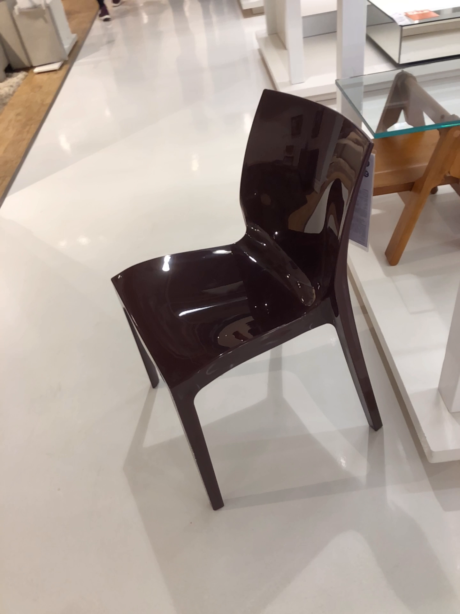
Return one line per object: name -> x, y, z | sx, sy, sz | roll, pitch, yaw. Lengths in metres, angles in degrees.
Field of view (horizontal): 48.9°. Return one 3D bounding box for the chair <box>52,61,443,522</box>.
chair -> 0.043, -0.034, 1.223 | 0.561, 0.814, 0.533 | -24, 43, -15
